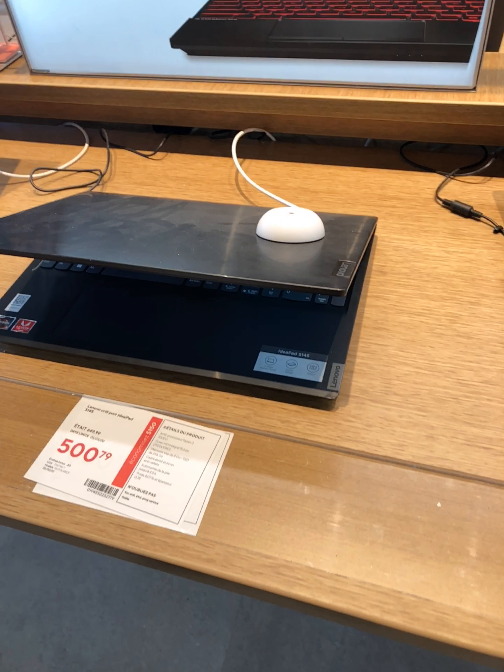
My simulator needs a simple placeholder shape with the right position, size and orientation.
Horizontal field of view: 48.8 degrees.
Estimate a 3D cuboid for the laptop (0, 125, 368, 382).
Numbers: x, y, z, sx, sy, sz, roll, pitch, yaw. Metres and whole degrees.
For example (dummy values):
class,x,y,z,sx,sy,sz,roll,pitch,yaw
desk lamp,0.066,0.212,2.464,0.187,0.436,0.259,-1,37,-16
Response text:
class,x,y,z,sx,sy,sz,roll,pitch,yaw
laptop,-0.076,-0.095,0.531,0.330,0.083,0.224,9,50,12
